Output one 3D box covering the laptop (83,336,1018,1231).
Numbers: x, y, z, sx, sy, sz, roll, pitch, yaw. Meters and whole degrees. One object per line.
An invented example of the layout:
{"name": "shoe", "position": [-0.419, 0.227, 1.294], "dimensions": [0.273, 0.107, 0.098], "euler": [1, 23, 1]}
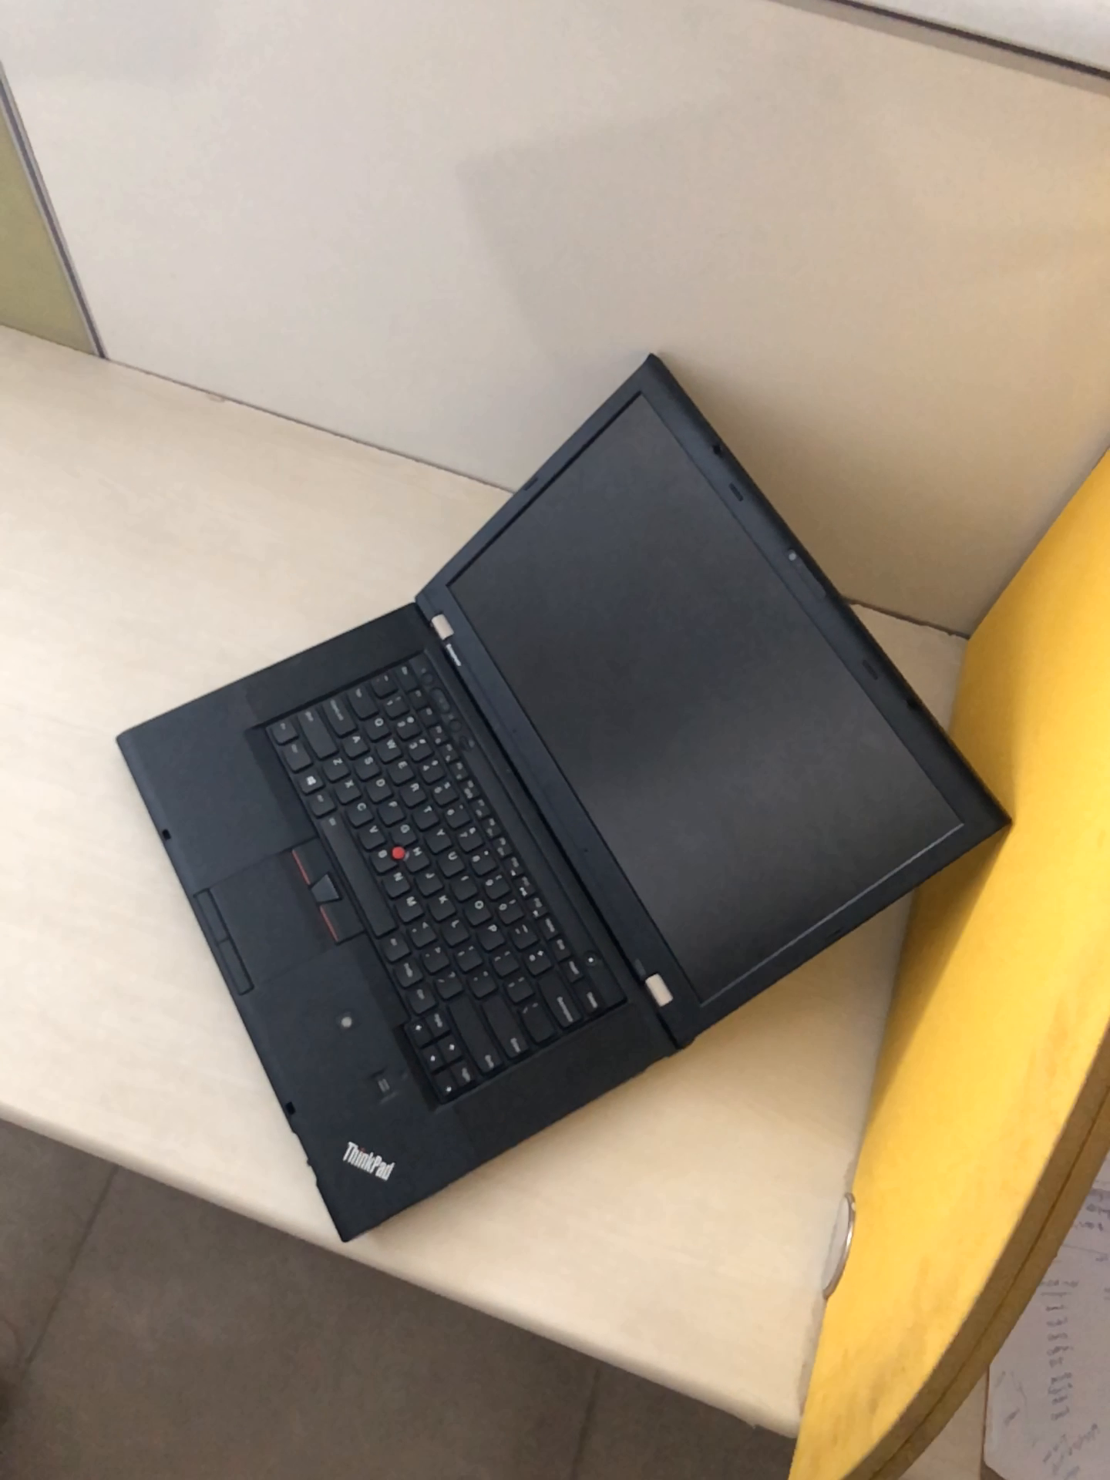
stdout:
{"name": "laptop", "position": [-0.013, 0.014, 0.749], "dimensions": [0.418, 0.144, 0.353], "euler": [-27, 70, -12]}
